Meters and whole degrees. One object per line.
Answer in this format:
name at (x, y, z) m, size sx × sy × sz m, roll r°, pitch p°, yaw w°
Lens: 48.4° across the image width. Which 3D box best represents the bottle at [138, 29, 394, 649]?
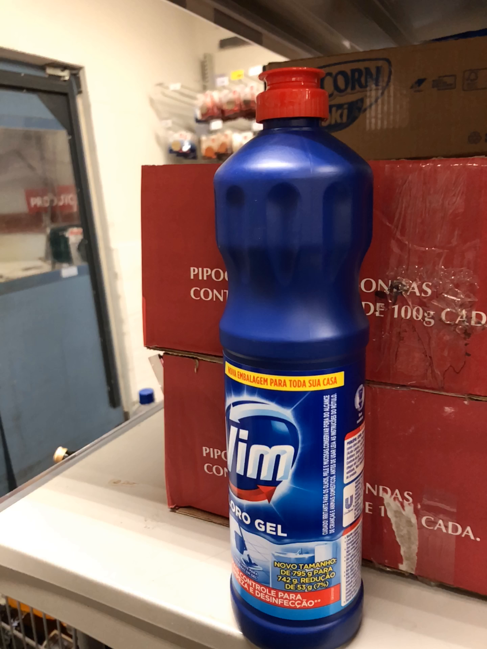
bottle at (0.014, 0.016, 0.225) m, size 0.070 × 0.229 × 0.060 m, roll 8°, pitch 17°, yaw 44°
